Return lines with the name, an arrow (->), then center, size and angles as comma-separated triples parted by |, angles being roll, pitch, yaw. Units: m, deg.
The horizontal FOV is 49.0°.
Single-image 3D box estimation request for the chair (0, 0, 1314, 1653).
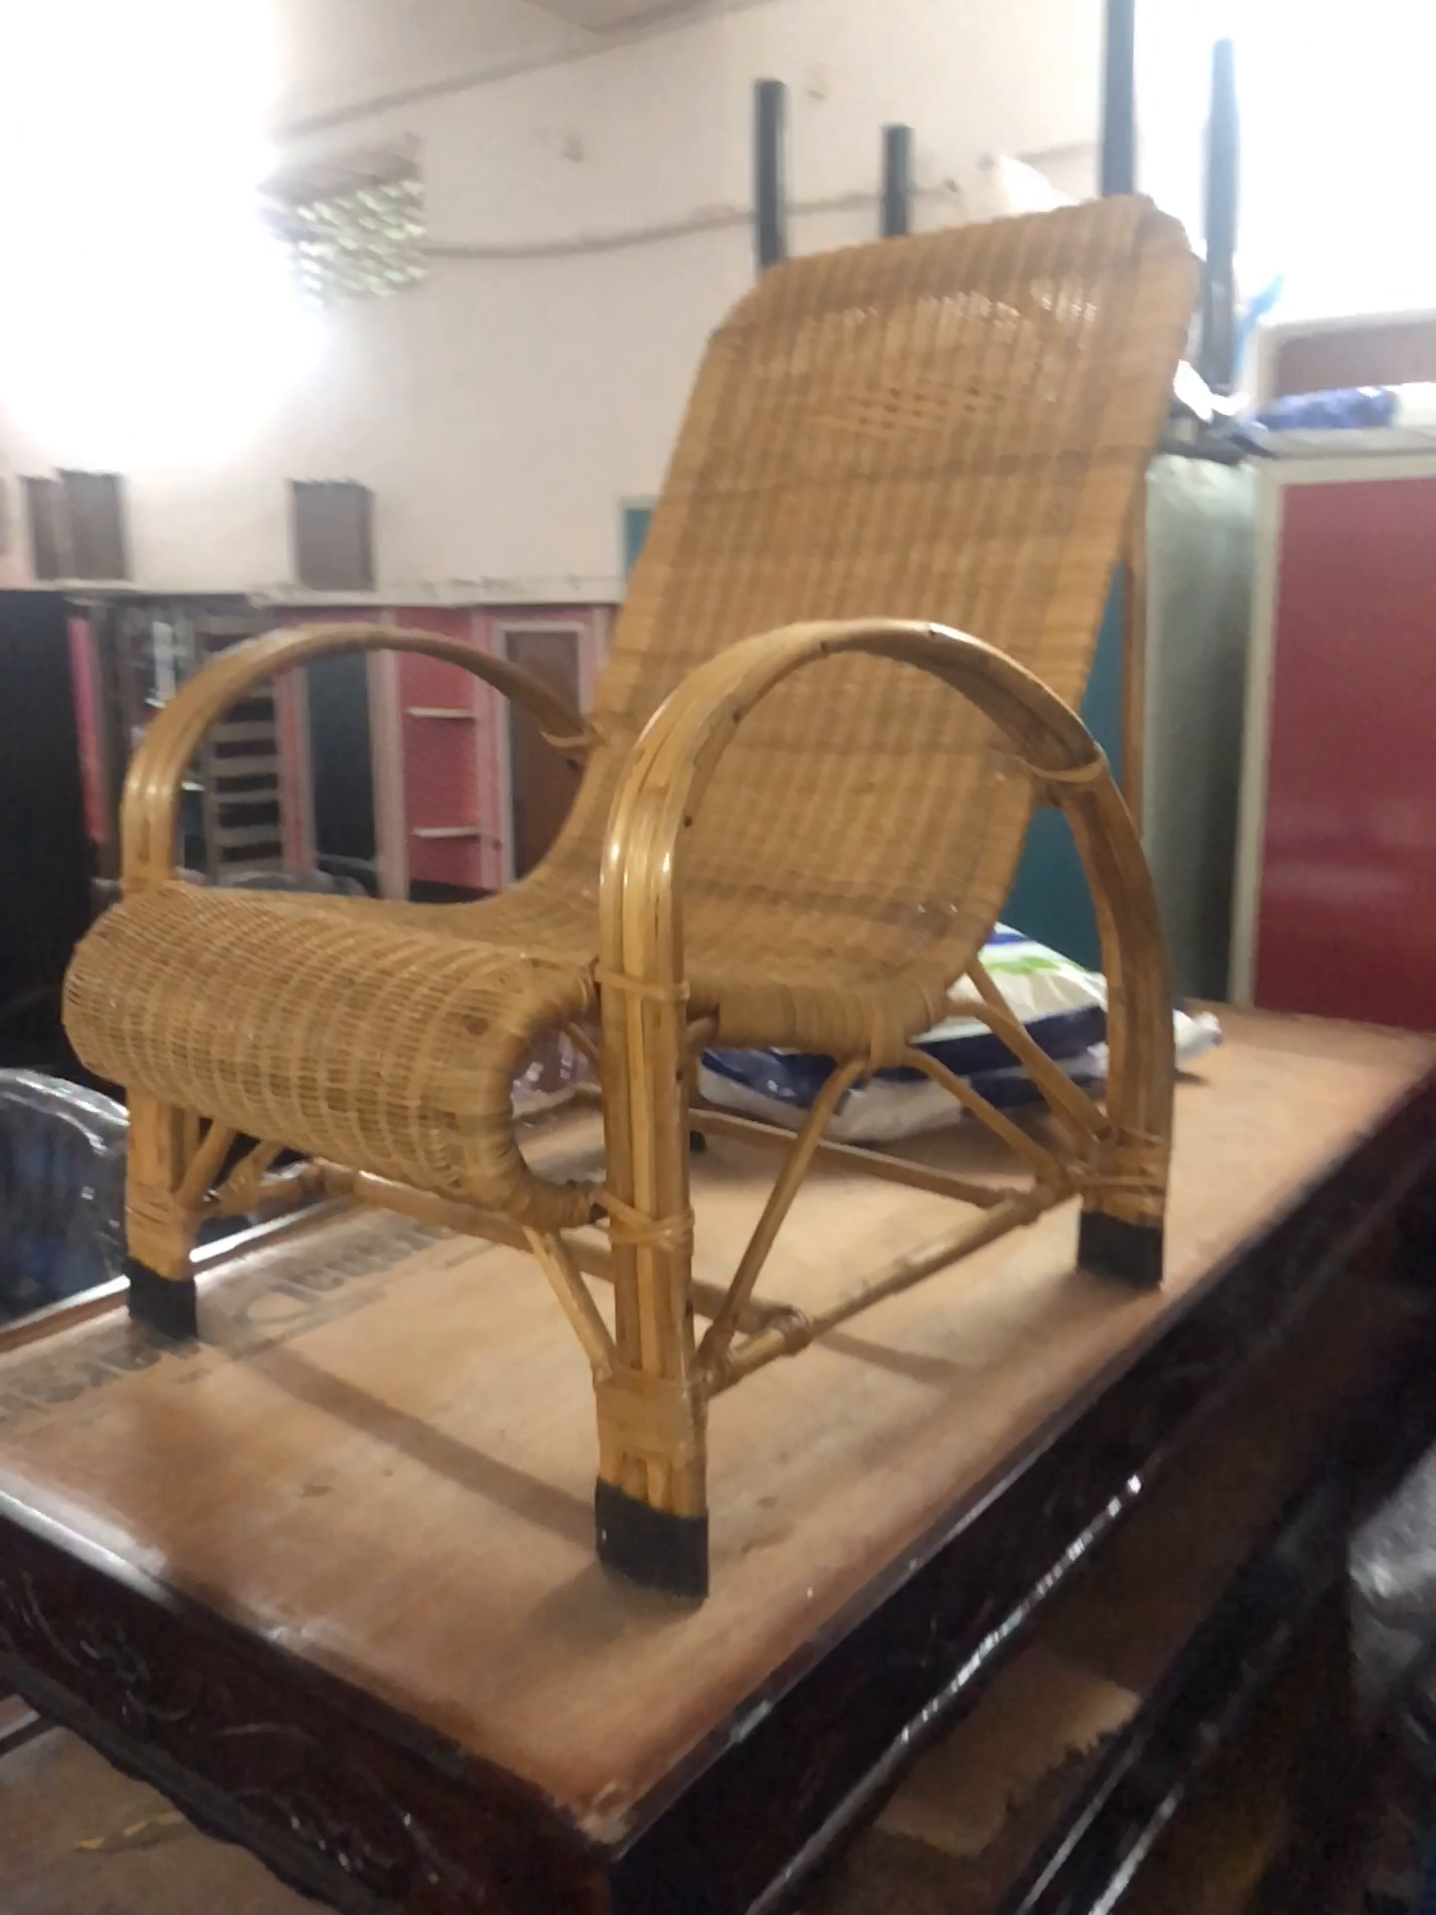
chair -> -0.062, -0.218, 1.327 | 0.769, 0.997, 0.823 | 9, 14, 39
